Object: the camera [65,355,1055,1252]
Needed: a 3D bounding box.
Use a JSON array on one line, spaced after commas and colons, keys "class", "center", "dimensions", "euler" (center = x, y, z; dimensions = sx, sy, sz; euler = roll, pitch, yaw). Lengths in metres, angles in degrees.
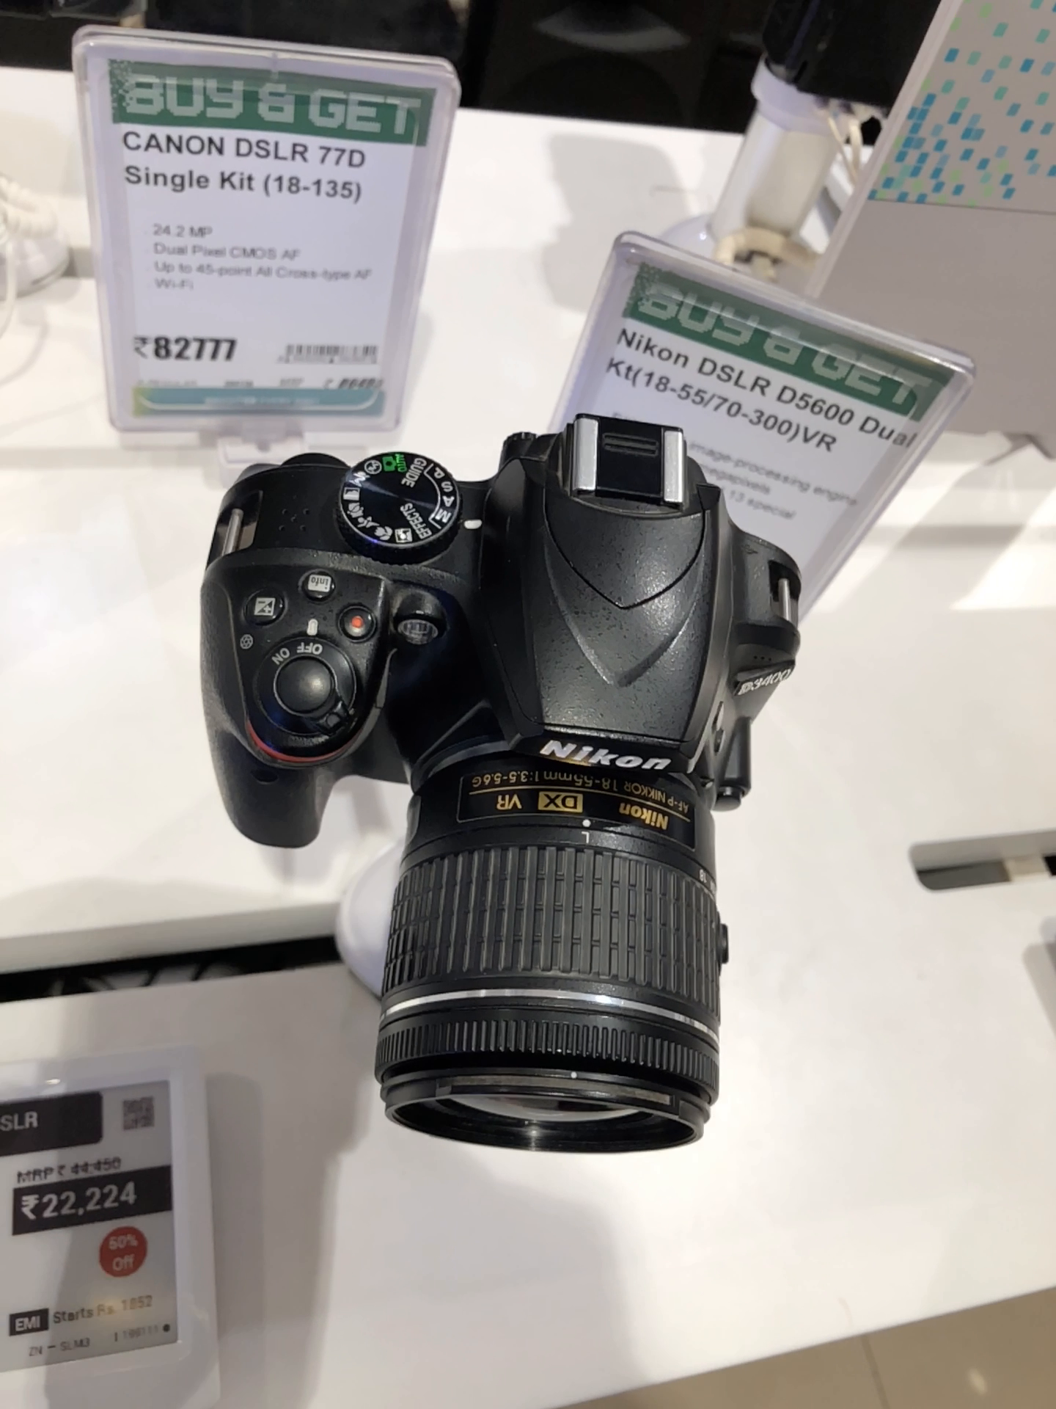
[{"class": "camera", "center": [0.003, 0.024, 0.211], "dimensions": [0.130, 0.090, 0.121], "euler": [7, 57, -11]}]
